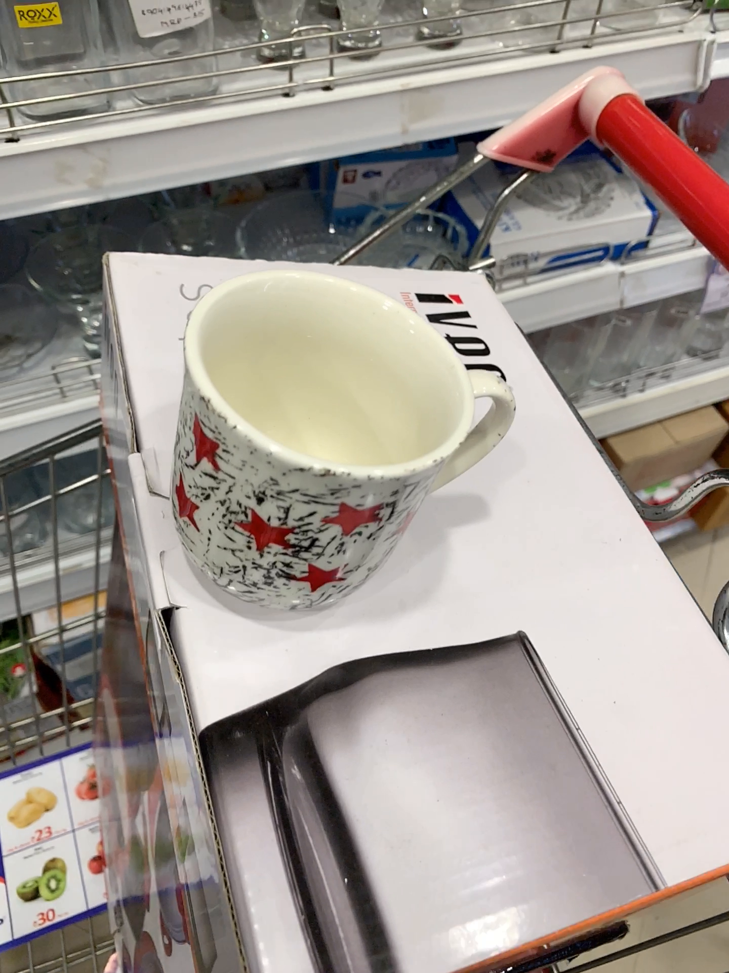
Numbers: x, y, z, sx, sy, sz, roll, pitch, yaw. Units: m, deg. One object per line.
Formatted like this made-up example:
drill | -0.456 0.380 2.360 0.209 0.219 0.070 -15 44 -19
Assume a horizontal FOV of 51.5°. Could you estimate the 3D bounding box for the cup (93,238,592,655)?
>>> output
cup | -0.012 -0.008 0.203 0.100 0.070 0.070 1 51 -29
